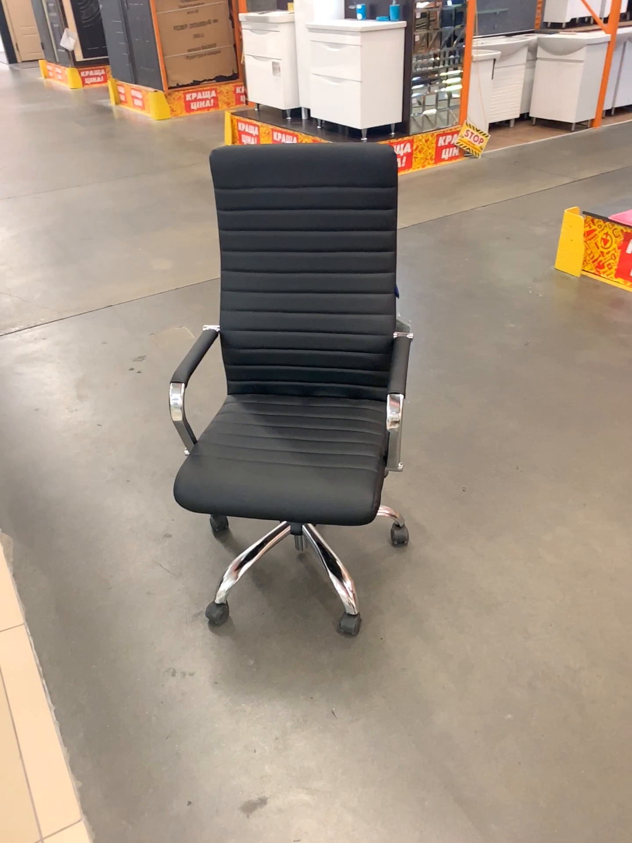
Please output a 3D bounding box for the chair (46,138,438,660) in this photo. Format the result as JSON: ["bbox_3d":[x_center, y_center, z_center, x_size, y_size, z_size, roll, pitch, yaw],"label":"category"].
[{"bbox_3d":[-0.058,-0.065,1.630,0.650,1.075,0.683,3,34,10],"label":"chair"}]
